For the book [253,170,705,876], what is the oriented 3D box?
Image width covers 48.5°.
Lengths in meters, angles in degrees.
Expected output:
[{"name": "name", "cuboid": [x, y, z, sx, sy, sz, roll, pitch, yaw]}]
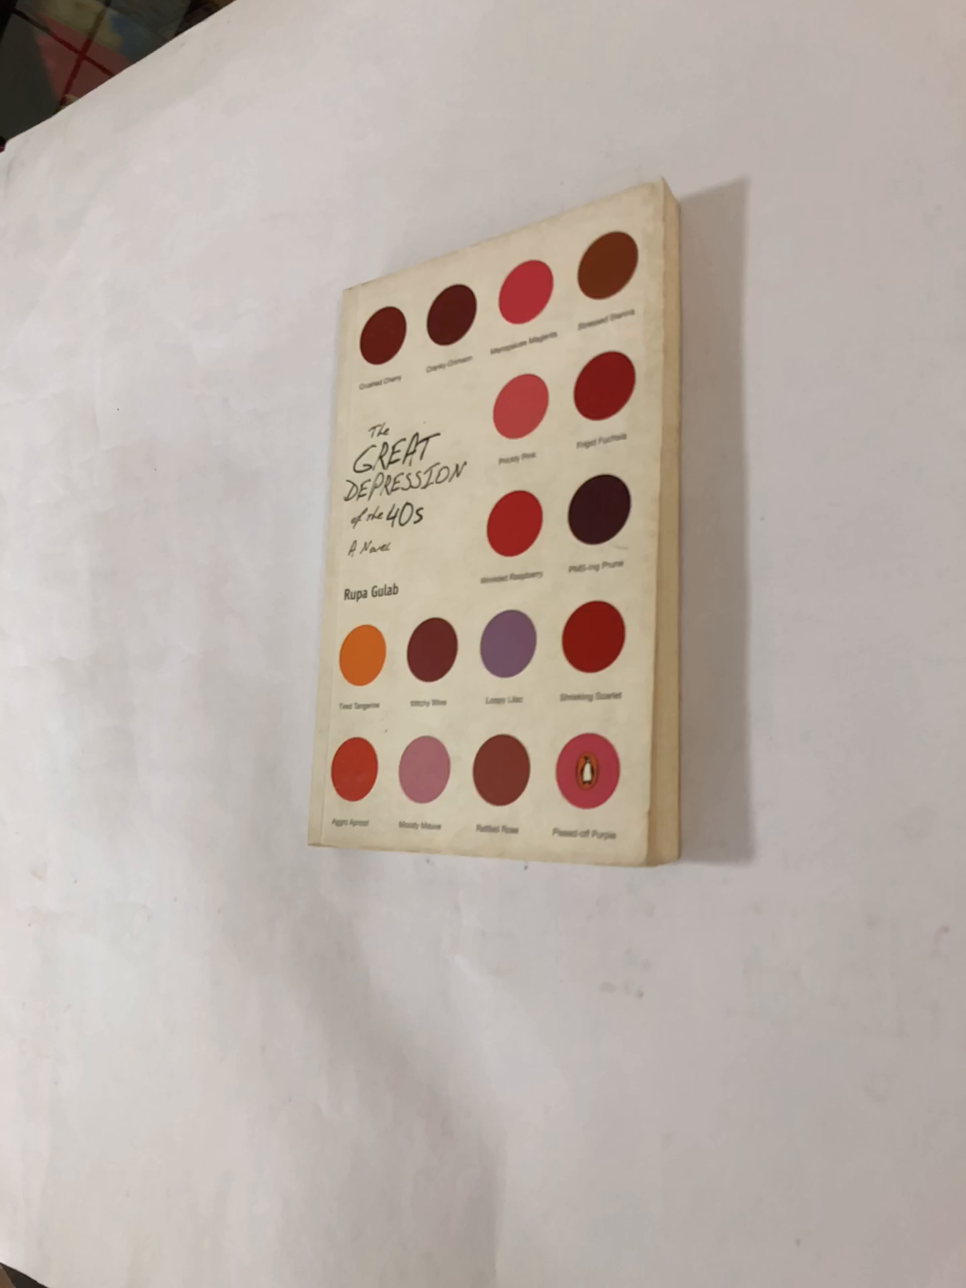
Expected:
[{"name": "book", "cuboid": [-0.004, -0.029, 0.331, 0.141, 0.030, 0.190, -5, 77, 36]}]
